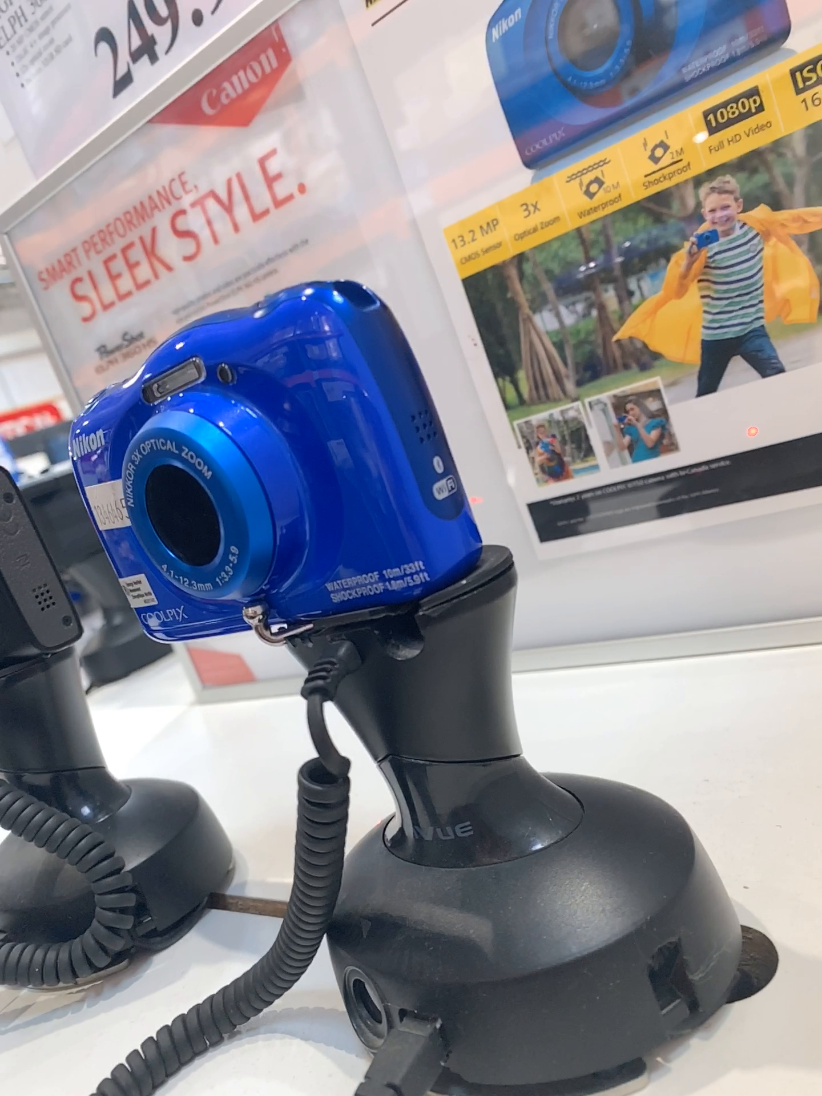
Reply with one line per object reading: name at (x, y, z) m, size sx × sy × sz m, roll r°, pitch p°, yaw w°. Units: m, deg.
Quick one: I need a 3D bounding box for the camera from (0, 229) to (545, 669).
camera at (-0.034, -0.016, 0.185) m, size 0.101 × 0.063 × 0.045 m, roll -12°, pitch 12°, yaw 40°
